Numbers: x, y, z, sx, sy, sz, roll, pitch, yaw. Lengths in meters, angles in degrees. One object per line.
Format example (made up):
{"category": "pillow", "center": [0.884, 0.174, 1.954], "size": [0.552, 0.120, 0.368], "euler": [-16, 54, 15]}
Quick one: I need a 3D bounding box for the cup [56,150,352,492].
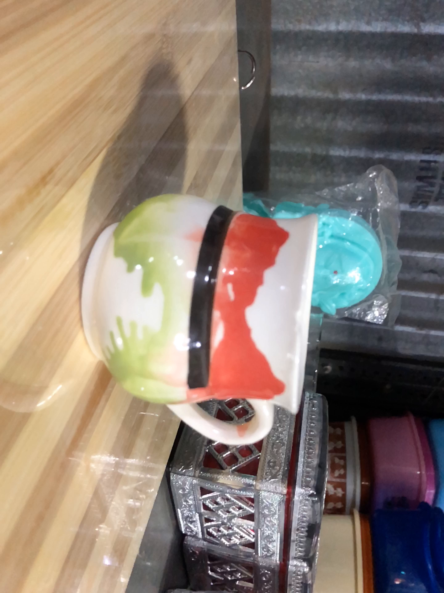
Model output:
{"category": "cup", "center": [0.001, 0.008, 0.165], "size": [0.060, 0.070, 0.090], "euler": [-73, 165, -52]}
